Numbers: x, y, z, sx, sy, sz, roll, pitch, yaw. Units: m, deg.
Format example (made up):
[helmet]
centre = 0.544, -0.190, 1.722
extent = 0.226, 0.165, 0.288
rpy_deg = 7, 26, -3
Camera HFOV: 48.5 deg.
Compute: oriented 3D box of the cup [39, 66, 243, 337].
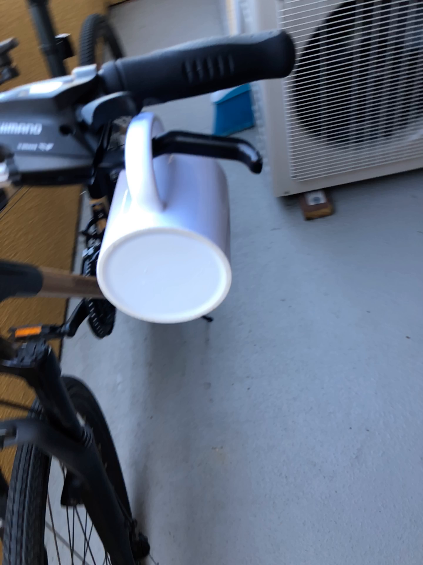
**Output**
[cup]
centre = -0.028, -0.050, 0.301
extent = 0.090, 0.120, 0.120
rpy_deg = 0, 49, 6
